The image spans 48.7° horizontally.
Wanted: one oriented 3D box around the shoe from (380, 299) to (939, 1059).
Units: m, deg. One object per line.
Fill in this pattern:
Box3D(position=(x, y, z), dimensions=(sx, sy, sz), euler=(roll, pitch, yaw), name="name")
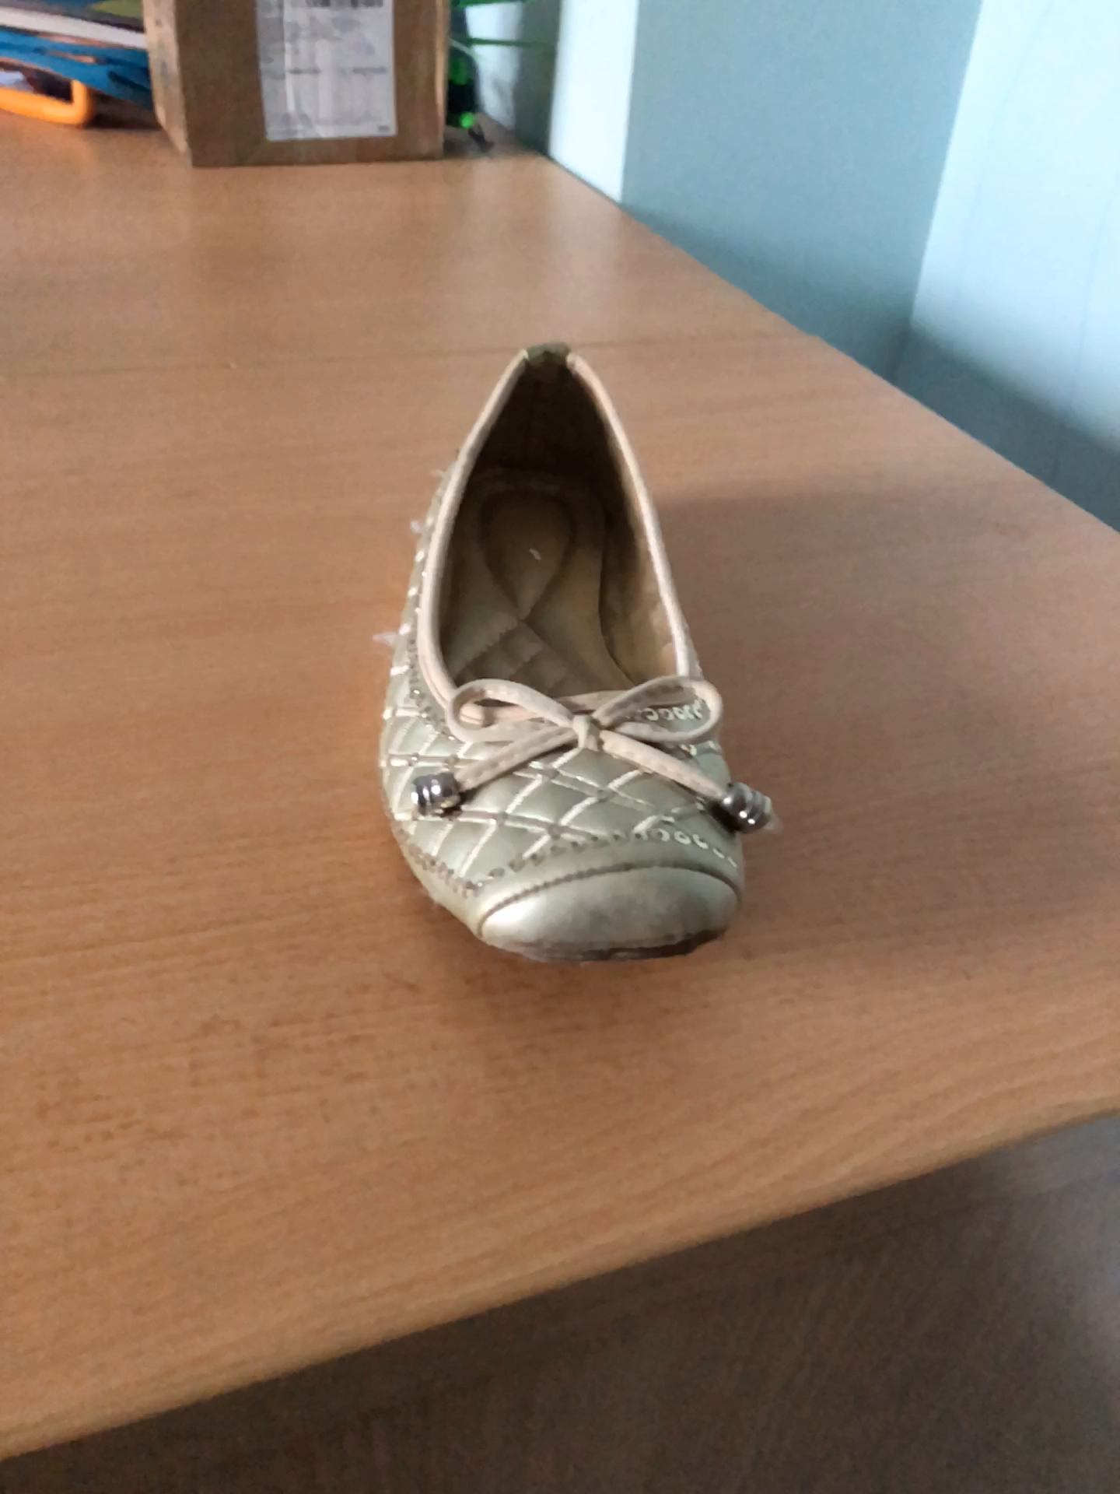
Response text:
Box3D(position=(0.001, -0.045, 0.346), dimensions=(0.100, 0.080, 0.261), euler=(-1, 36, -8), name="shoe")
